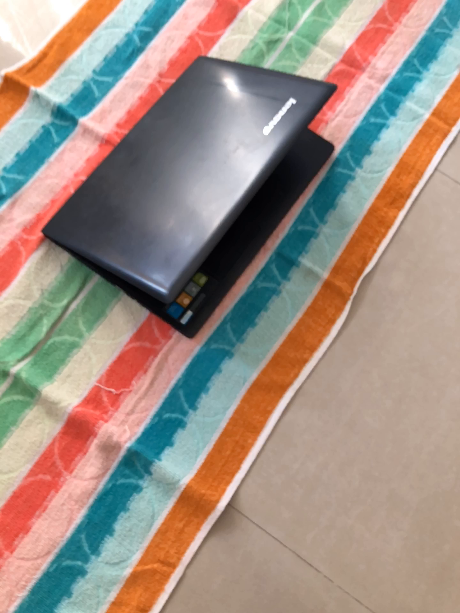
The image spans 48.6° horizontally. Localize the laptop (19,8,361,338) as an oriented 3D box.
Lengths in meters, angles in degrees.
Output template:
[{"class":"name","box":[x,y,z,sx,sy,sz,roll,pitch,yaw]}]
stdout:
[{"class":"laptop","box":[-0.044,-0.184,0.693,0.252,0.126,0.364,35,75,9]}]
